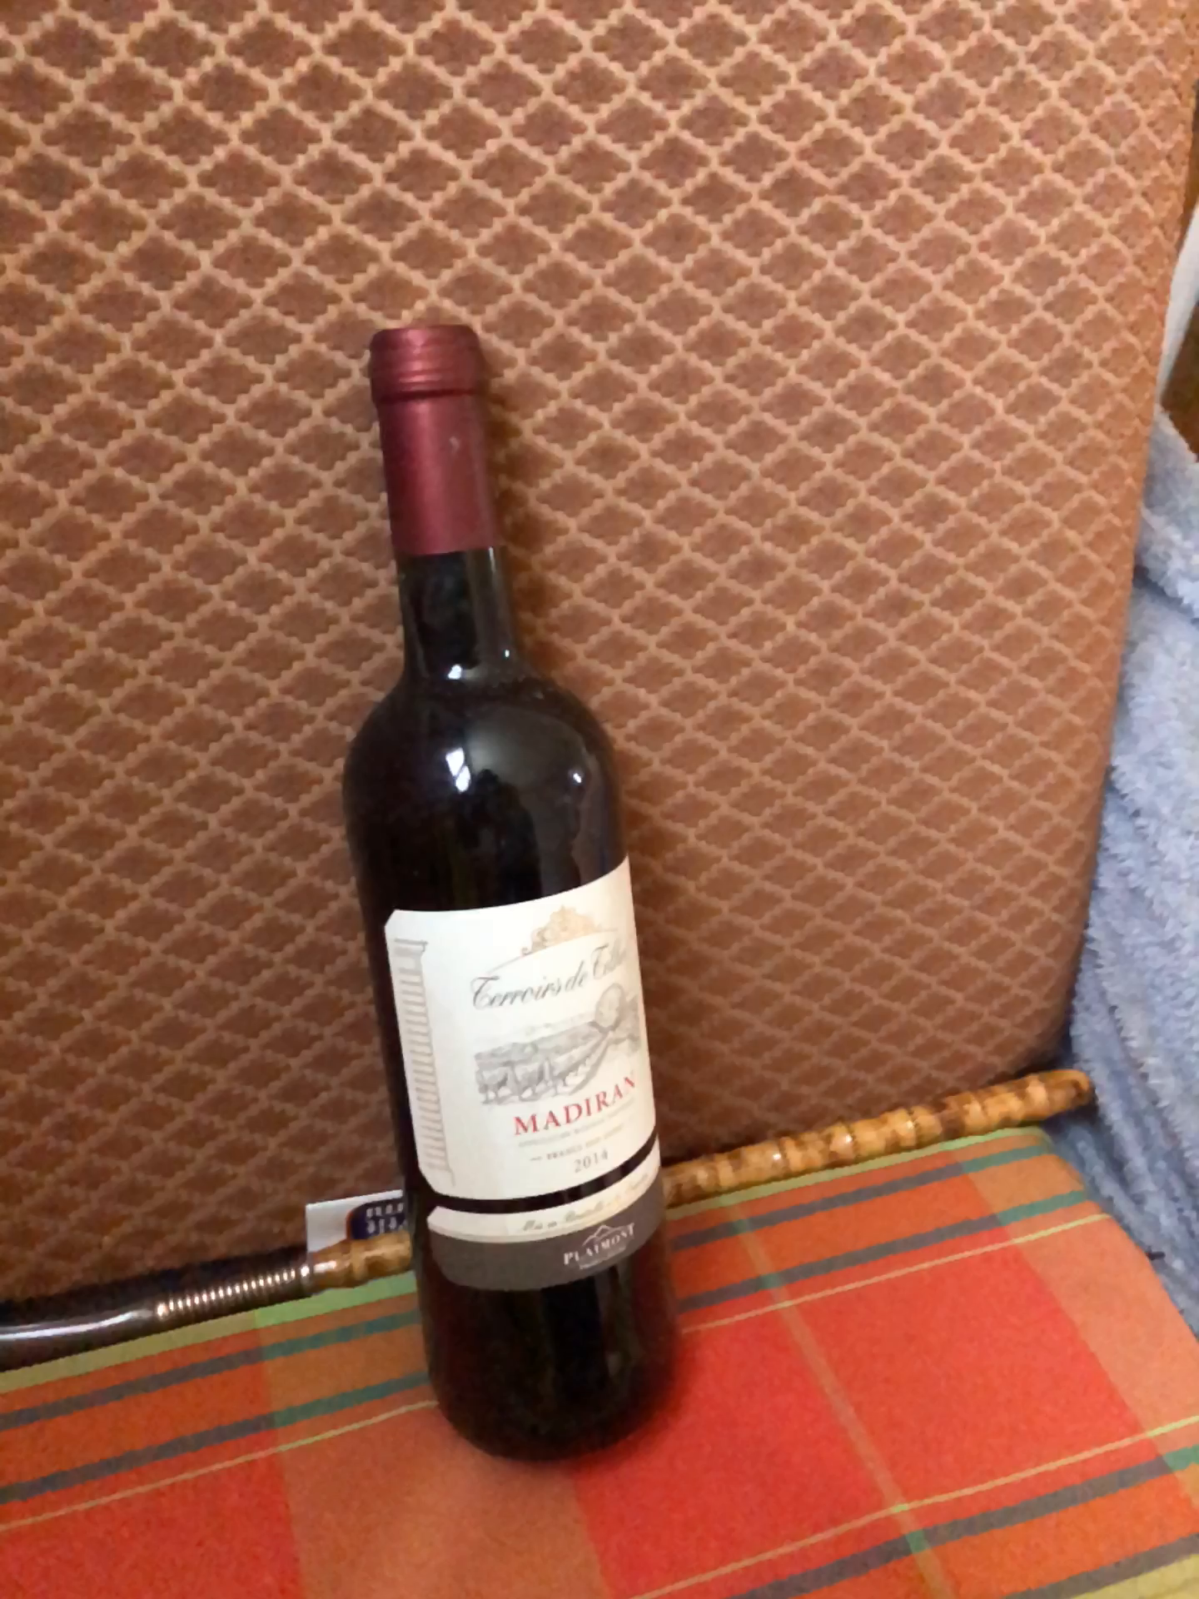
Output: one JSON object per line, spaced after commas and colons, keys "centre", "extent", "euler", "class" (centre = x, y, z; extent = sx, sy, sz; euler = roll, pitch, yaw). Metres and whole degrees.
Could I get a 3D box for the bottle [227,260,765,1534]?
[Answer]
{"centre": [-0.025, 0.024, 0.354], "extent": [0.080, 0.299, 0.090], "euler": [-13, 15, -25], "class": "bottle"}
